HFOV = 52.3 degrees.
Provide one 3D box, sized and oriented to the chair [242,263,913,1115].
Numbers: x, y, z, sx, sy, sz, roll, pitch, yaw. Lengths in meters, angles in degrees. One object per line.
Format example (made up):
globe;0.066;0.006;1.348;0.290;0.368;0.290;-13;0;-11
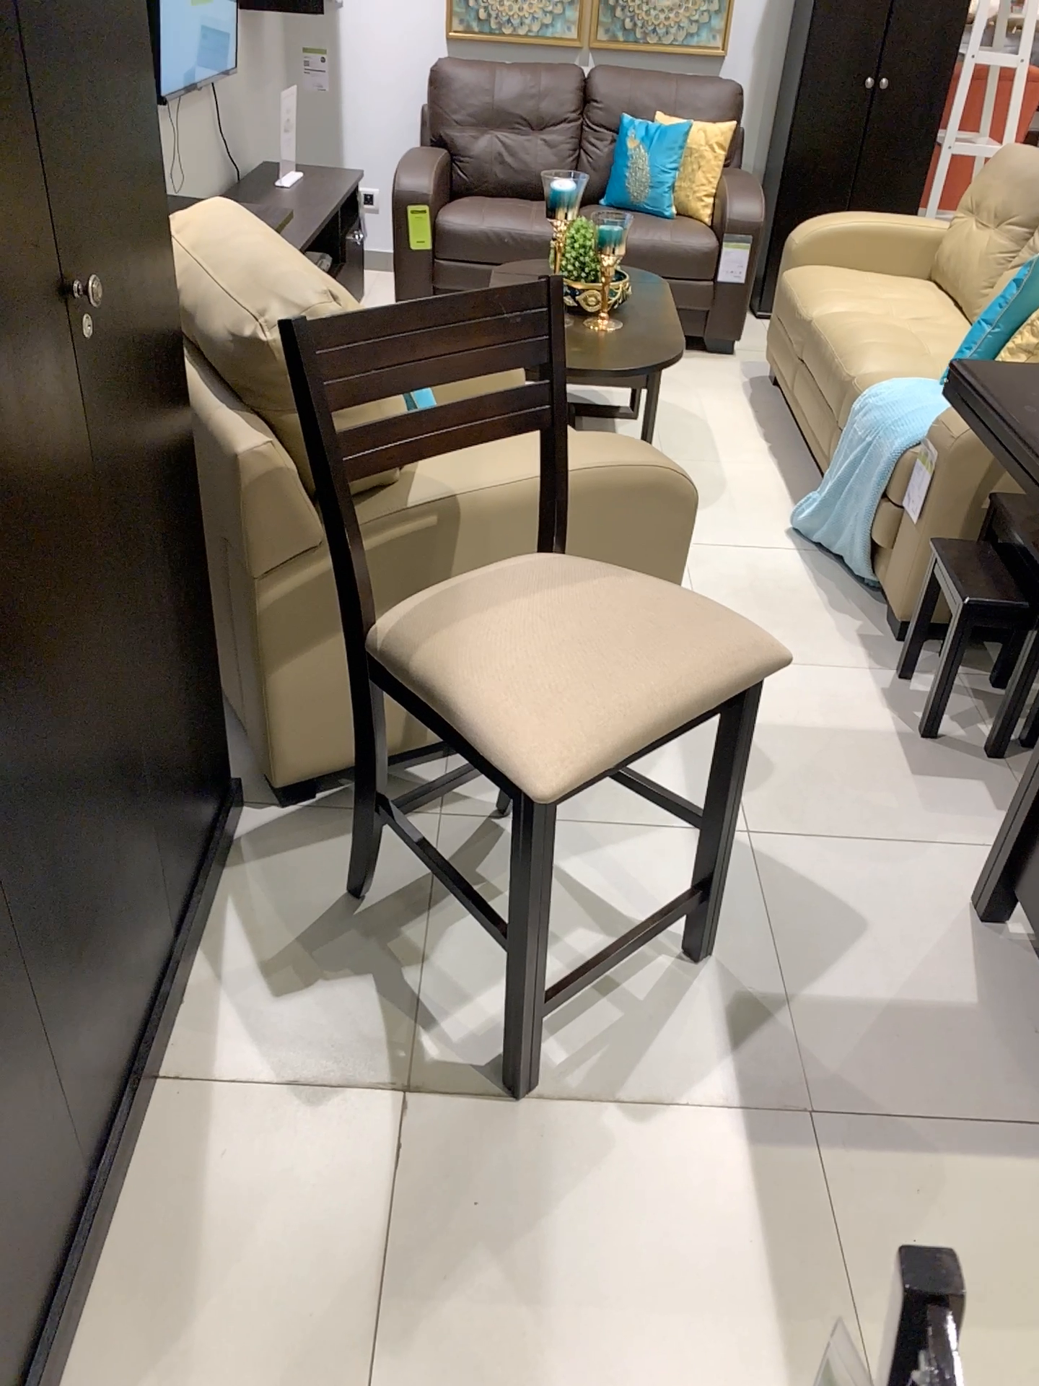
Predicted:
chair;0.030;-0.031;1.495;0.521;0.916;0.591;-25;45;-36
